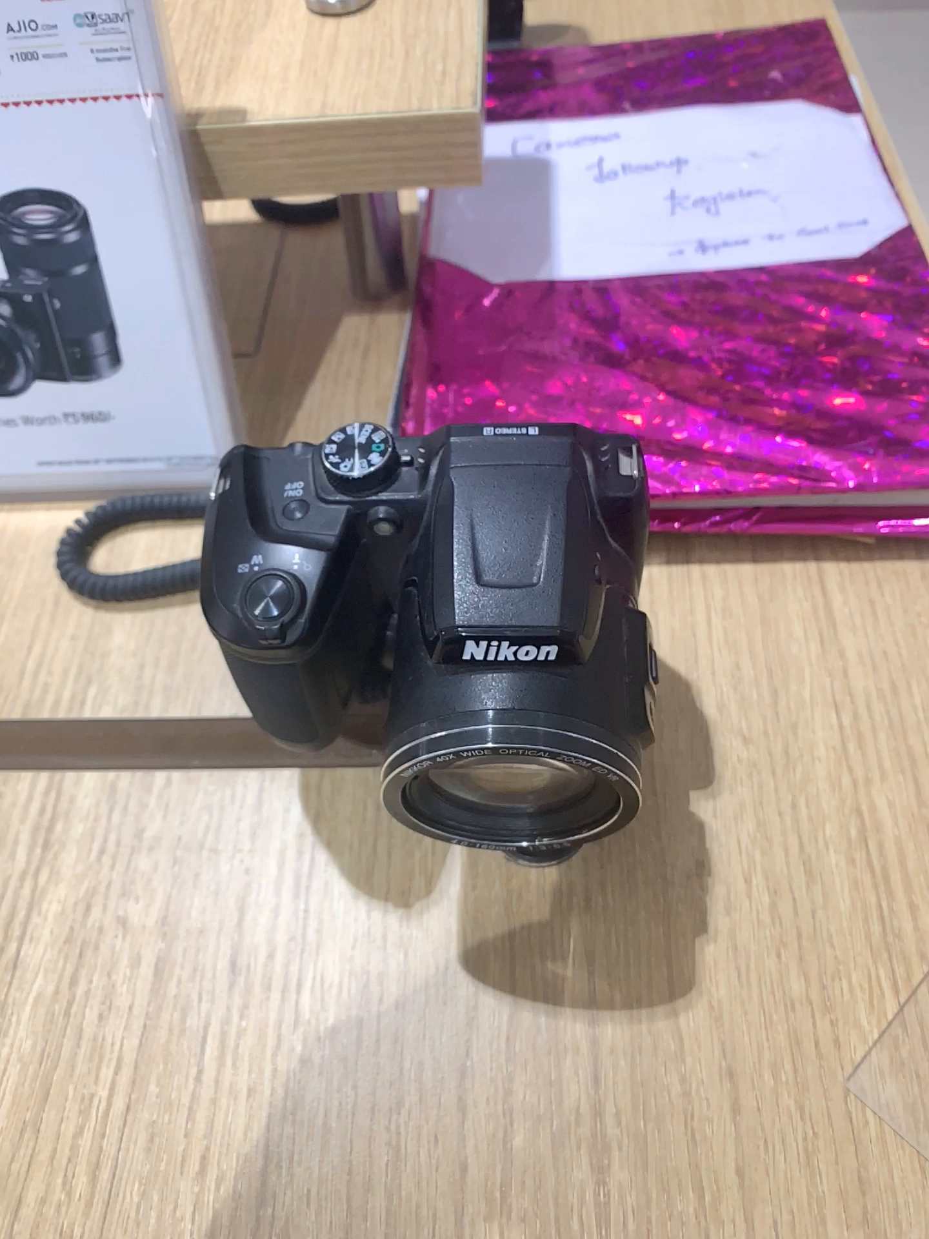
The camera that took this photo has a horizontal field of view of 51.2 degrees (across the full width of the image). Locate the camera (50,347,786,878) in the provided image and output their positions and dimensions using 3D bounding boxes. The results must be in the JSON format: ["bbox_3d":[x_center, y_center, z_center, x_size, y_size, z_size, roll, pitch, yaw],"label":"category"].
[{"bbox_3d":[-0.006,0.002,0.233,0.130,0.090,0.090,-1,55,4],"label":"camera"}]
